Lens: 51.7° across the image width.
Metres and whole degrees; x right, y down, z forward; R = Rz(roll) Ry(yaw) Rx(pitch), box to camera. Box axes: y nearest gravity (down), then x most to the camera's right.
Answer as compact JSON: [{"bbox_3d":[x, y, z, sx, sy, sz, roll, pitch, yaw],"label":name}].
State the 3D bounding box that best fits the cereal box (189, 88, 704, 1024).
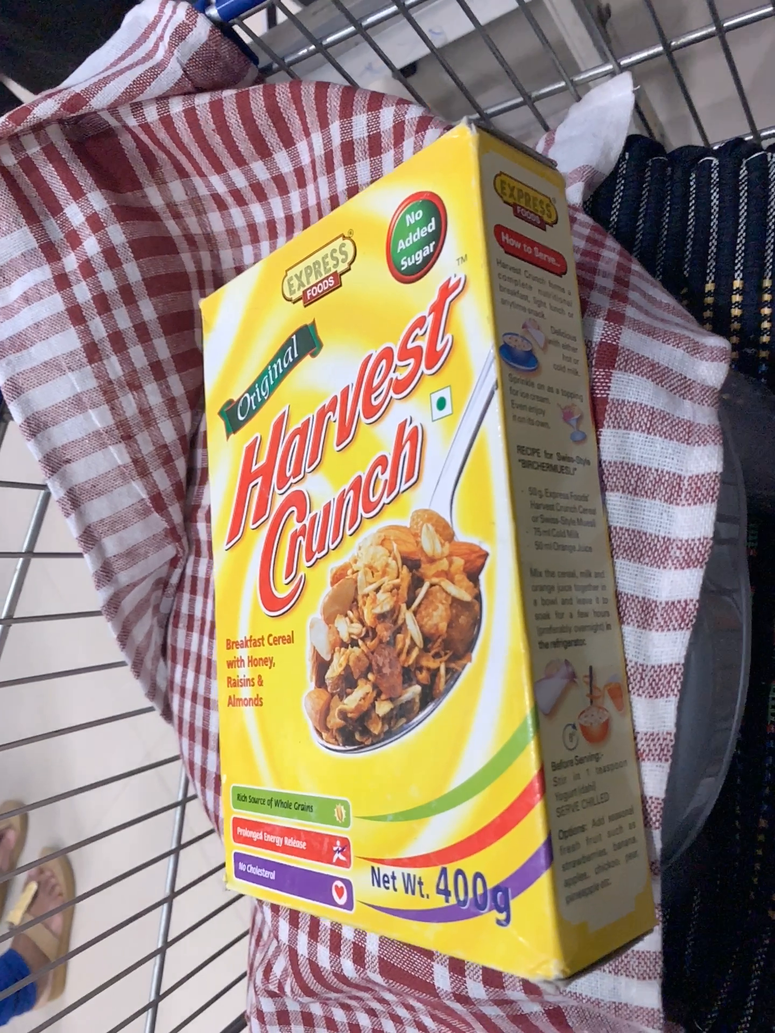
[{"bbox_3d":[0.002,0.014,0.259,0.151,0.050,0.220,-14,79,47],"label":"cereal box"}]
